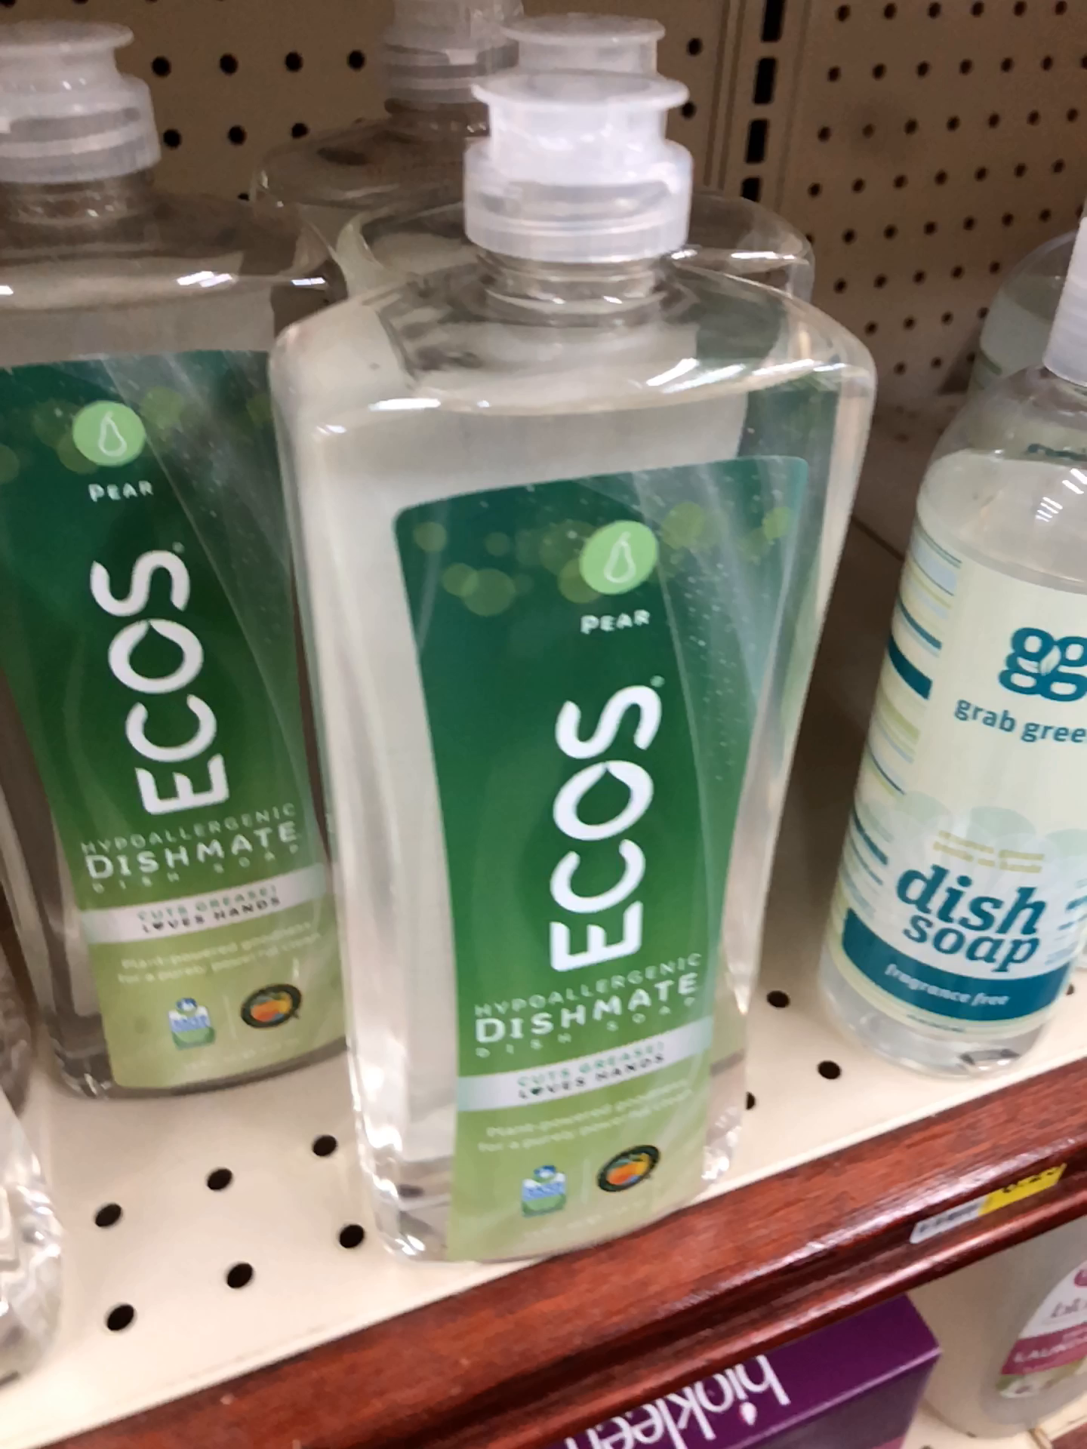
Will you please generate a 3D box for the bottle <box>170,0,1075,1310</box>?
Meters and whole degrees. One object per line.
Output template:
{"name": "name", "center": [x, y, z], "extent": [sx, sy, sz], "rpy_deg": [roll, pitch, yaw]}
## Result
{"name": "bottle", "center": [0.003, 0.009, 0.210], "extent": [0.092, 0.226, 0.050], "rpy_deg": [-10, 40, -15]}
